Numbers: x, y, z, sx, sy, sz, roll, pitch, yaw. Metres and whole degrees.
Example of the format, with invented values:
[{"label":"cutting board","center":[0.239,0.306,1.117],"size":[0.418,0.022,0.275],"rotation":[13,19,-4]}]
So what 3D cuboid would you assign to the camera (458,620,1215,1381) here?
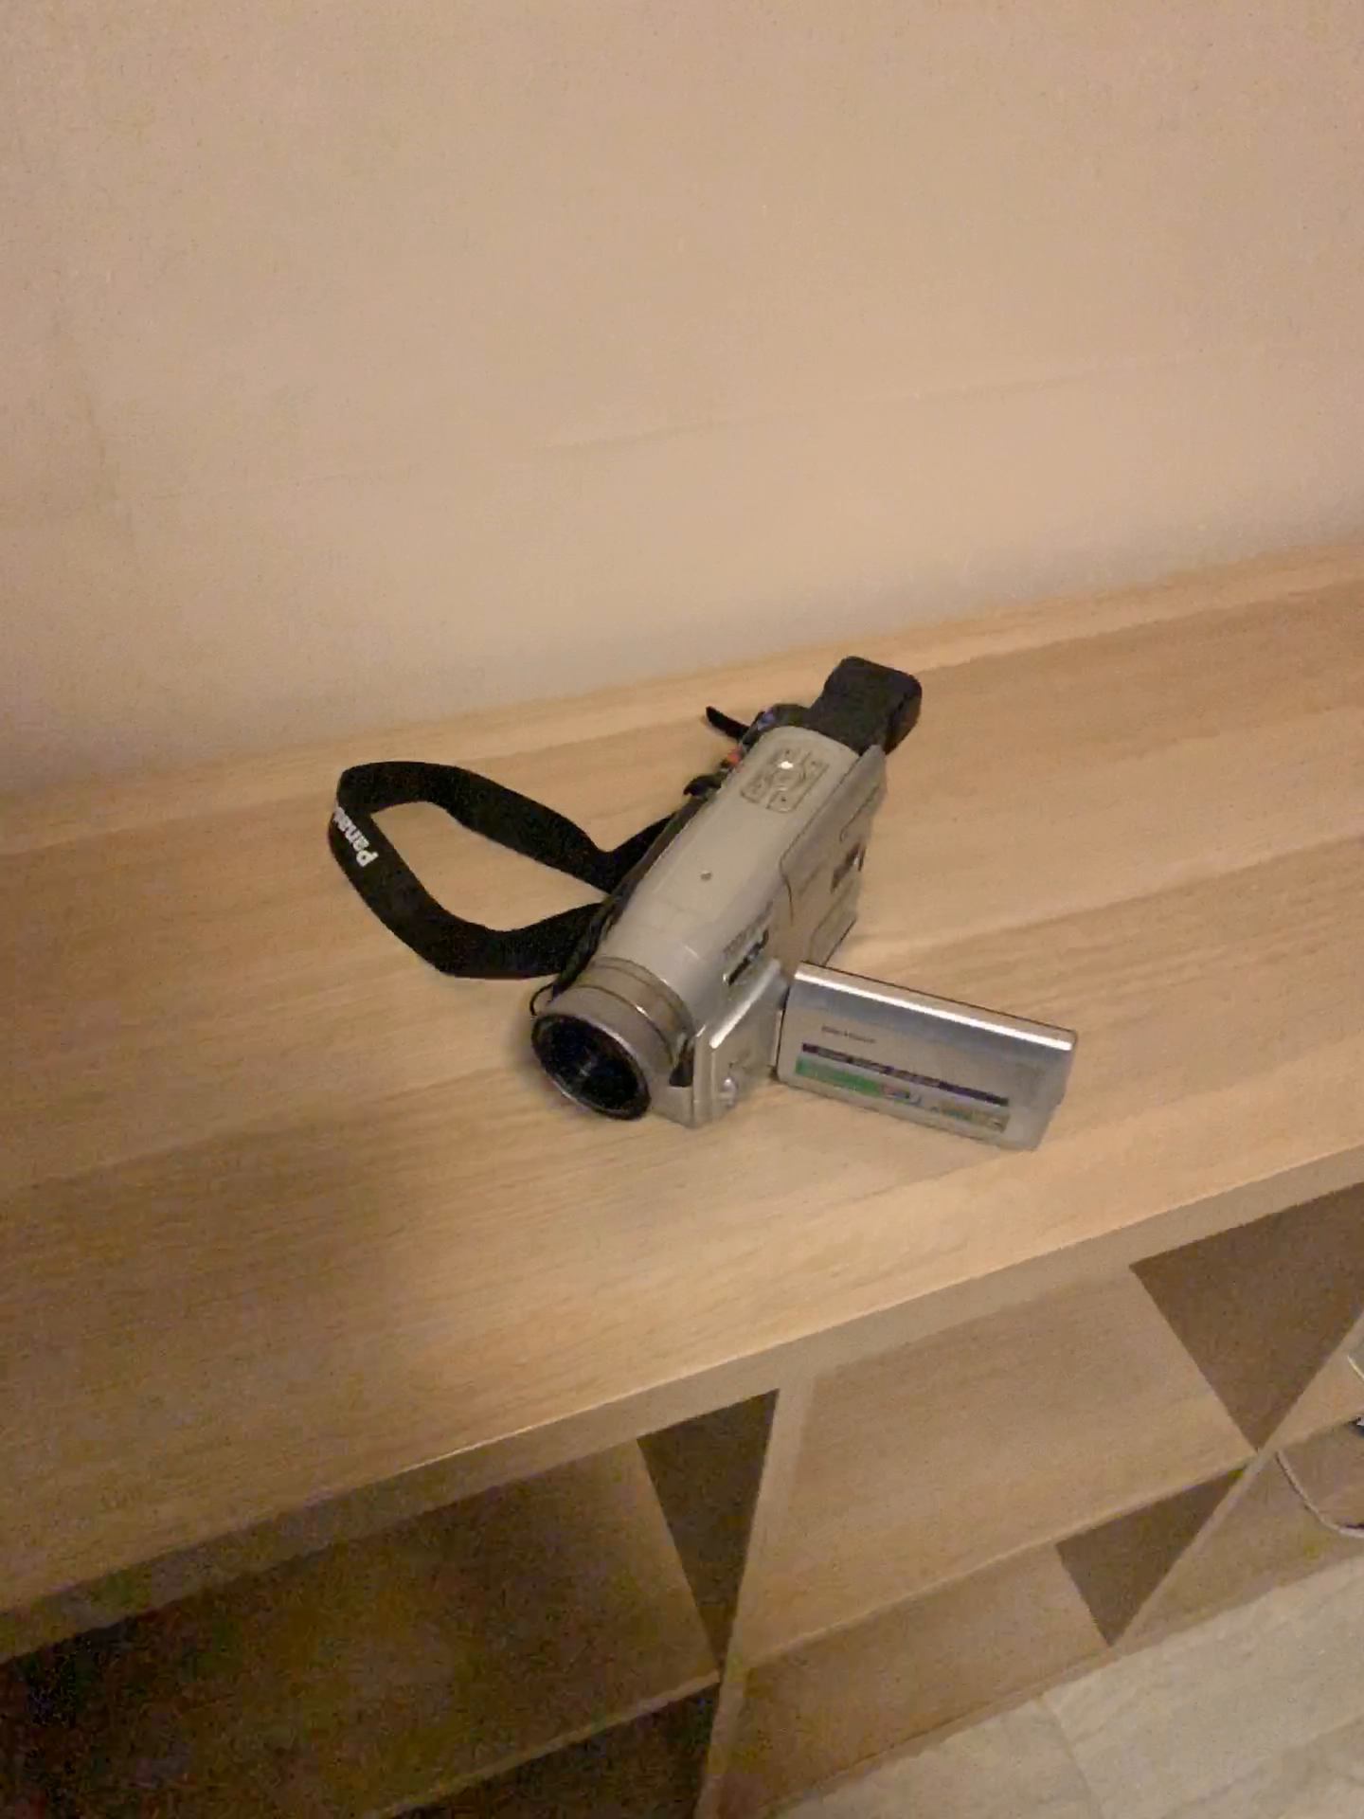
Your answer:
[{"label":"camera","center":[0.069,0.016,0.560],"size":[0.203,0.109,0.247],"rotation":[22,46,19]}]
